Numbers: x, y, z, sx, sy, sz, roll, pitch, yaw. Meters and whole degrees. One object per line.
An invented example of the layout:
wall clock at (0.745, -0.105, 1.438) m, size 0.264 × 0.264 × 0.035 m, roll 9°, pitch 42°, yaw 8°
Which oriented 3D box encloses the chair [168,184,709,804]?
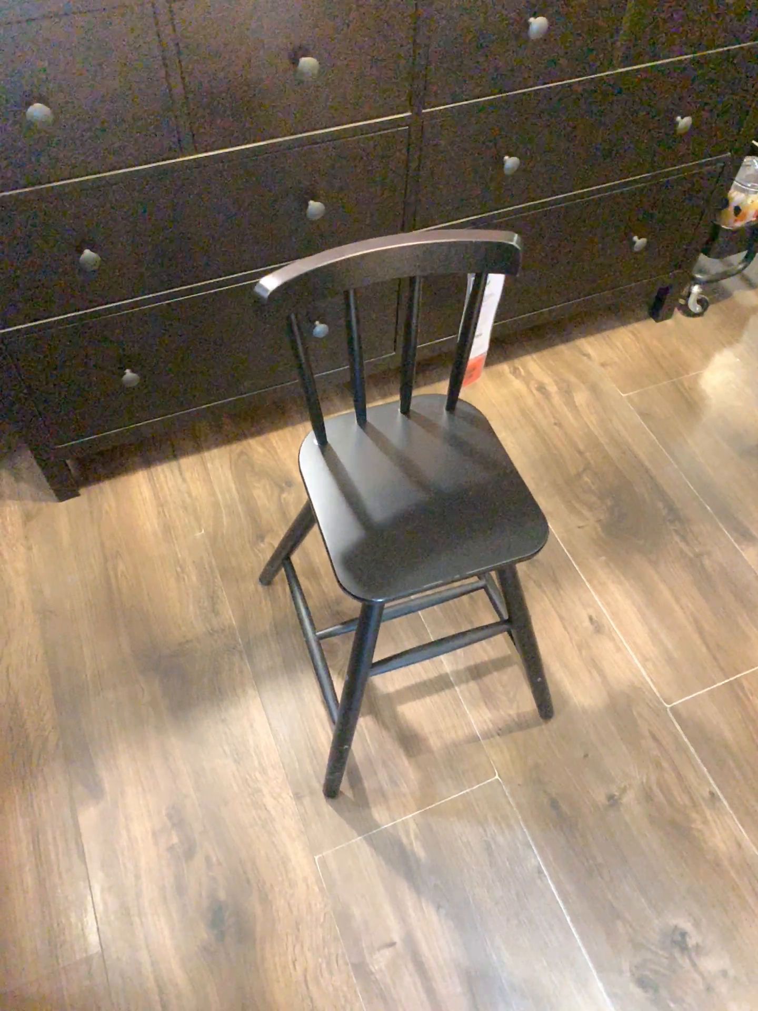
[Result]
chair at (0.026, 0.057, 1.200) m, size 0.450 × 0.848 × 0.471 m, roll -16°, pitch 59°, yaw -13°
